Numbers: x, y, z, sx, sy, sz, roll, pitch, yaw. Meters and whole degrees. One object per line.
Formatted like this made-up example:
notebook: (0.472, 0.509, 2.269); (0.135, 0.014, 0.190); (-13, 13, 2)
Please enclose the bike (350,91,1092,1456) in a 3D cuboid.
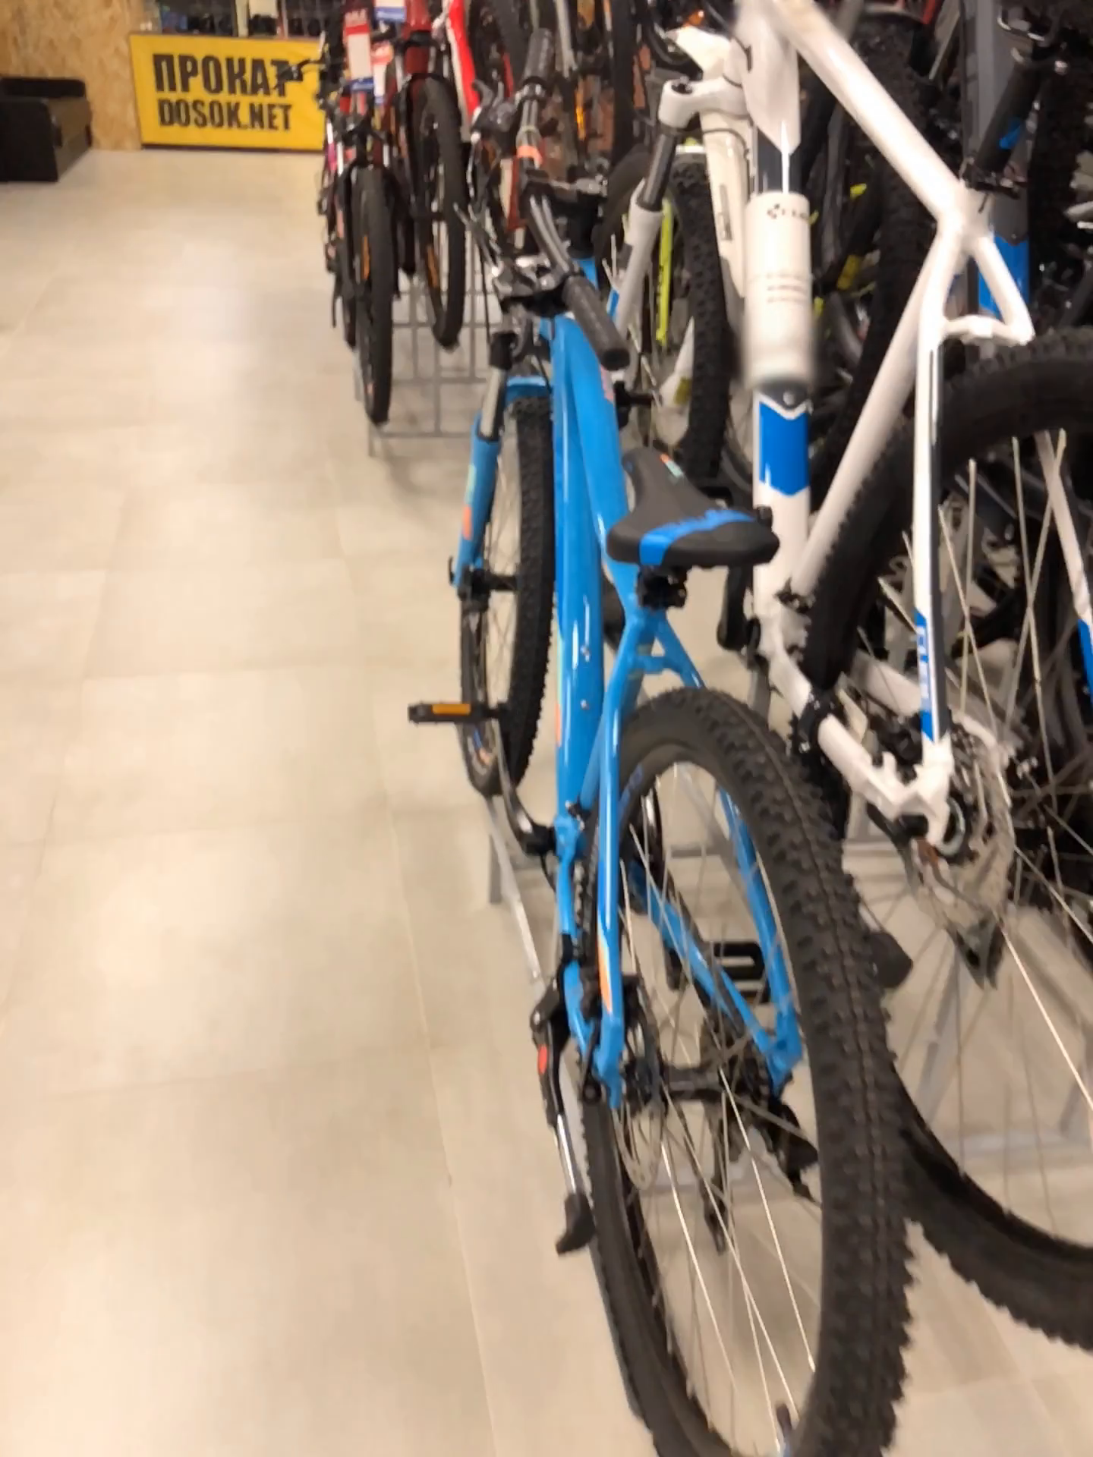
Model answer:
bike: (0.140, -0.111, 1.429); (0.630, 1.082, 1.711); (-3, 30, -11)
